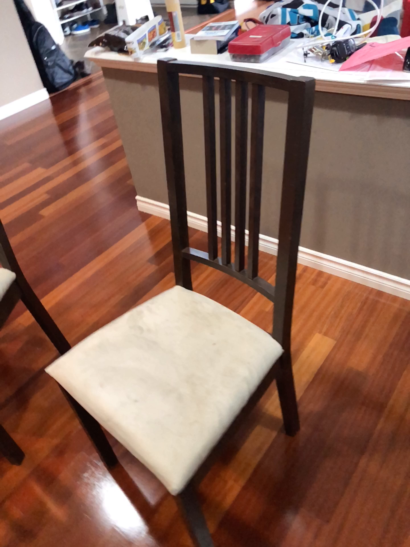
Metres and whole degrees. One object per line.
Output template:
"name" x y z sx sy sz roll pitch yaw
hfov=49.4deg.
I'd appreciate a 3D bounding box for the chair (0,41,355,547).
"chair" -0.067 0.148 0.995 0.492 1.052 0.511 28 53 36
